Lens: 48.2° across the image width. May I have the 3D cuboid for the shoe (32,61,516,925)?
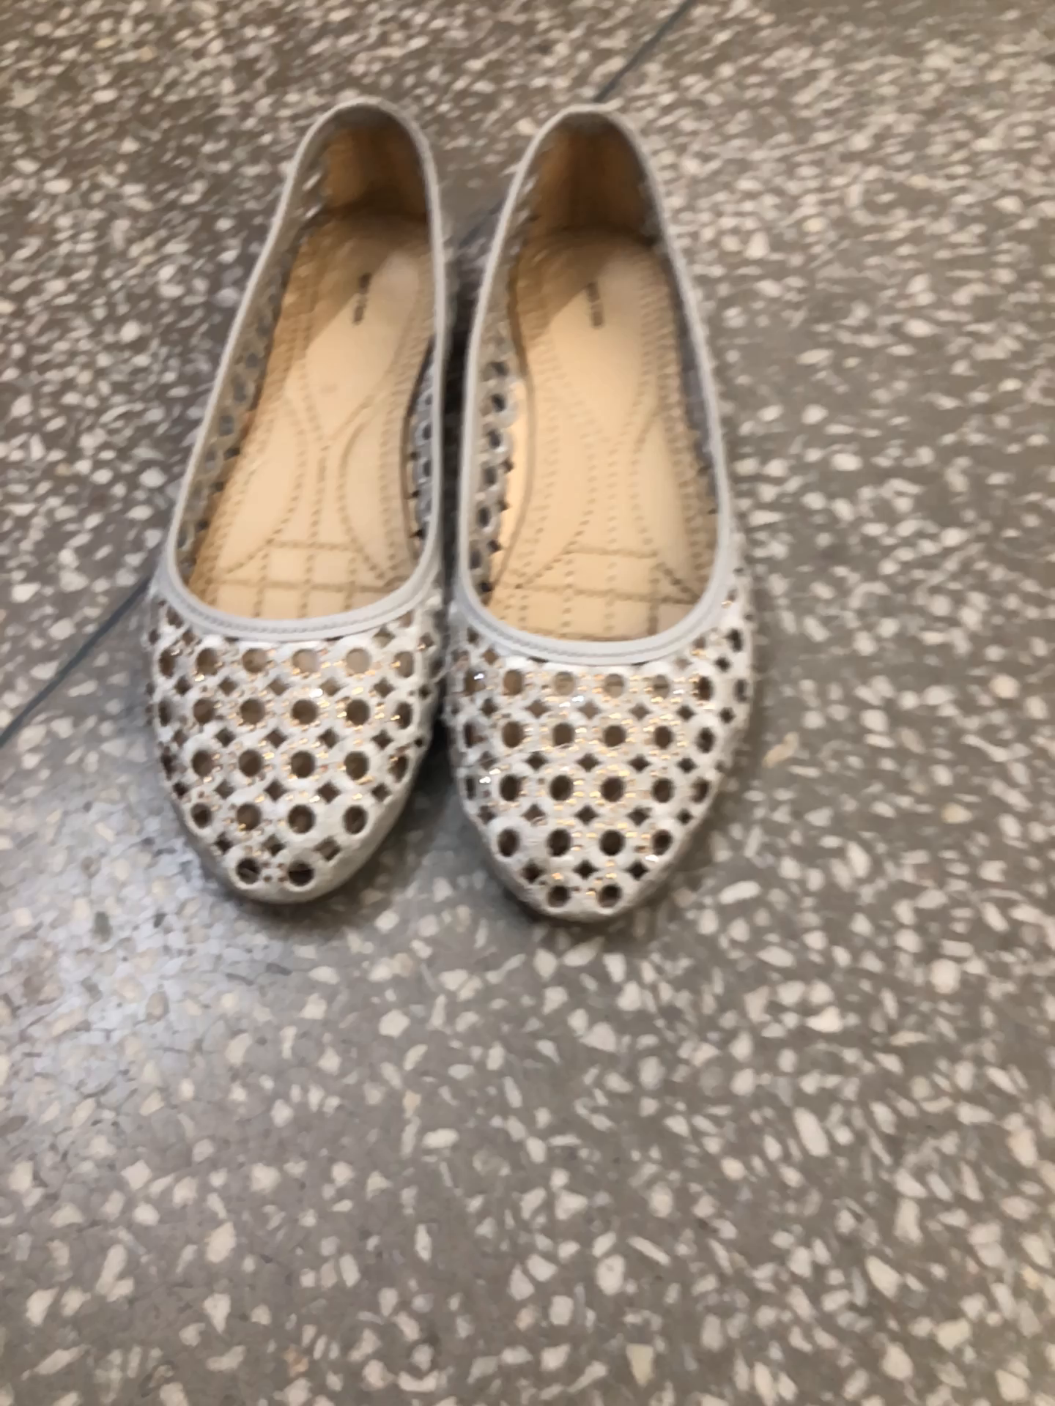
[{"bbox_3d":[-0.055,-0.066,0.332,0.093,0.070,0.240,2,65,0],"label":"shoe"}]

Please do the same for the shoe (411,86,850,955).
[{"bbox_3d":[0.026,-0.058,0.332,0.093,0.070,0.240,2,65,0],"label":"shoe"}]
